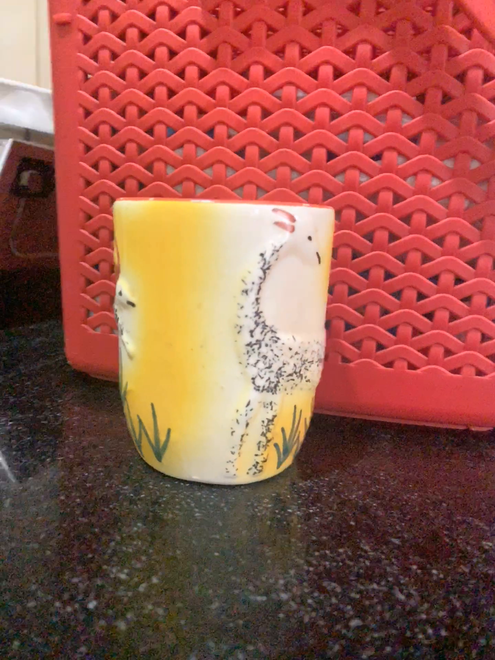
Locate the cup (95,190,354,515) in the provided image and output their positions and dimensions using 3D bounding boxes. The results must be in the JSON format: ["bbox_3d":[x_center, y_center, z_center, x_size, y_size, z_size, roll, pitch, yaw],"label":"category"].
[{"bbox_3d":[-0.005,0.001,0.207,0.080,0.100,0.080,4,11,-1],"label":"cup"}]
